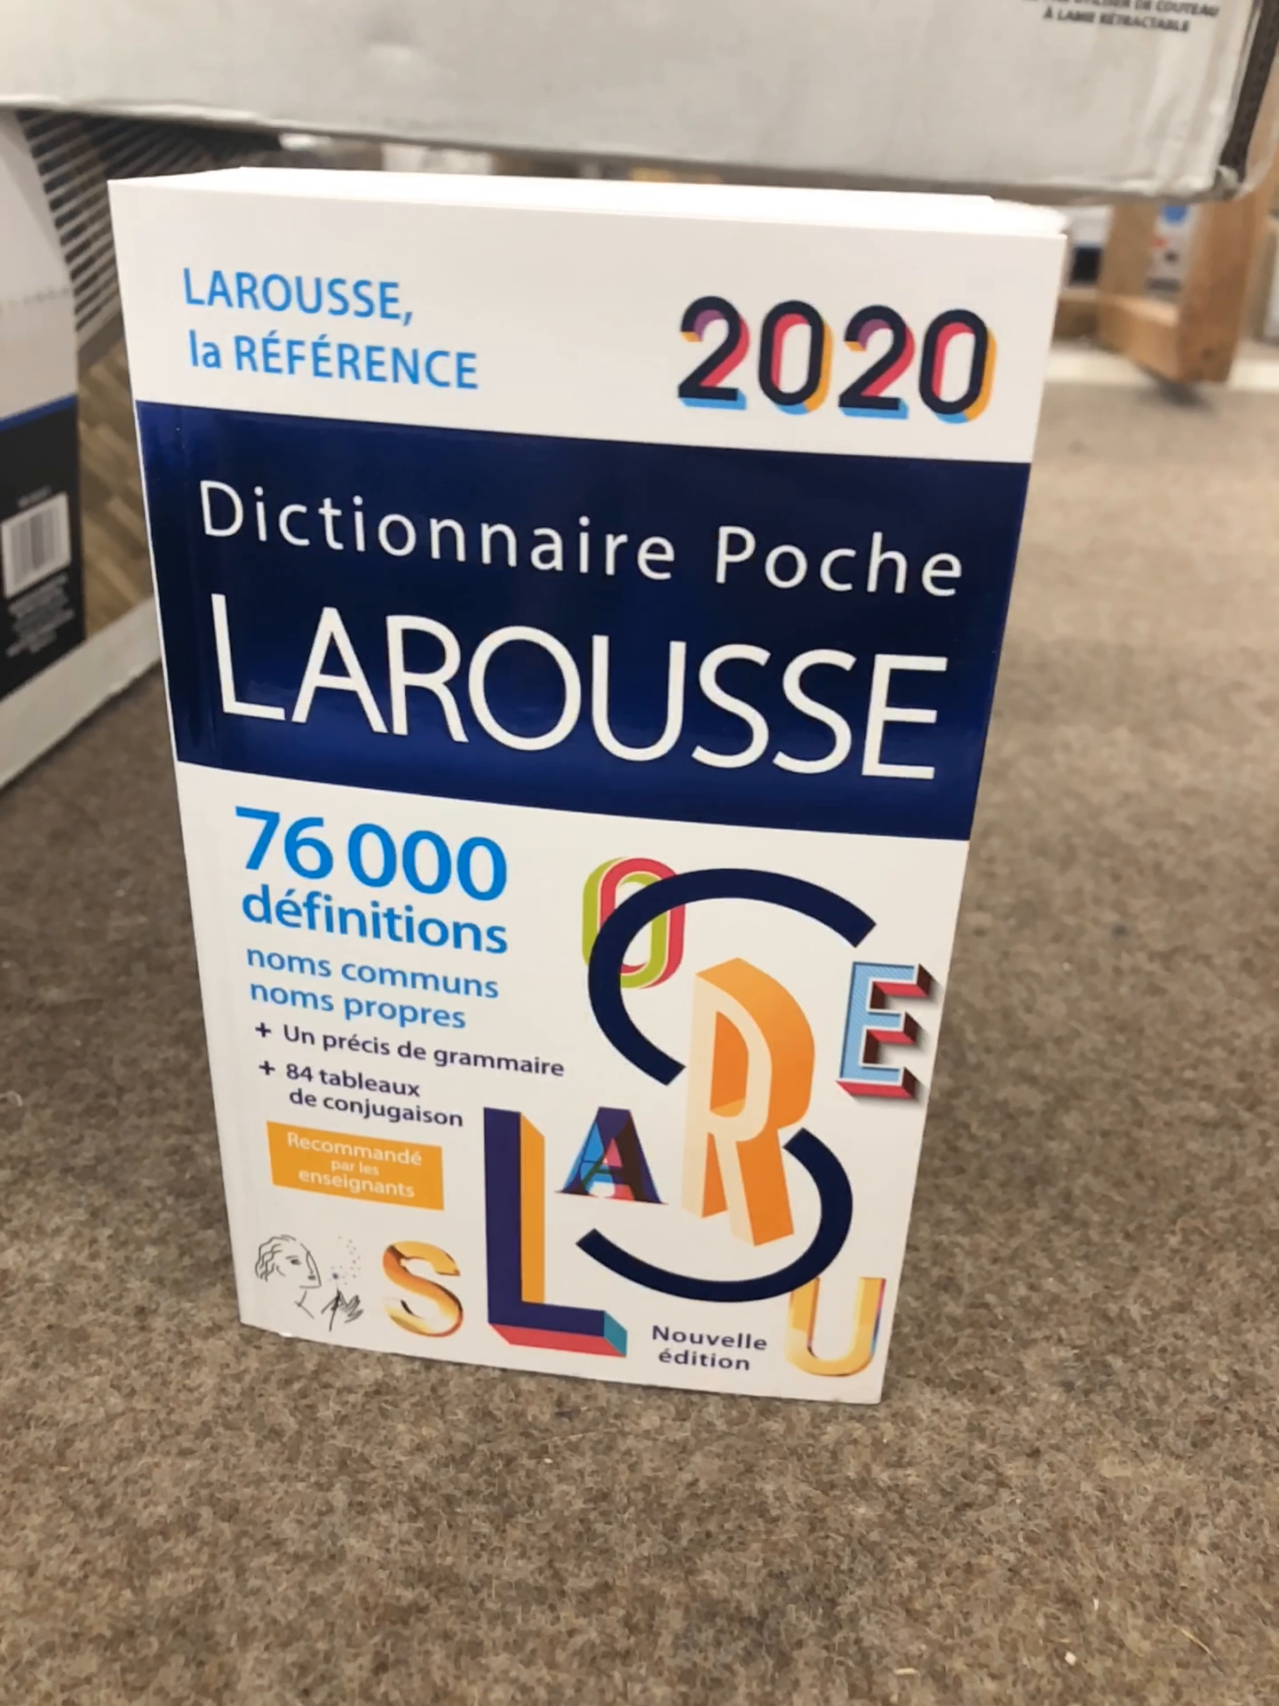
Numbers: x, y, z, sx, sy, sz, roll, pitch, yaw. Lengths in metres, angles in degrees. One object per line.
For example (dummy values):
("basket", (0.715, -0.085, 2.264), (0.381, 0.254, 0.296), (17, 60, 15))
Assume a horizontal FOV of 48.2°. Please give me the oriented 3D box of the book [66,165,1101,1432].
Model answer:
("book", (-0.007, -0.005, 0.217), (0.111, 0.173, 0.062), (5, 27, 5))
